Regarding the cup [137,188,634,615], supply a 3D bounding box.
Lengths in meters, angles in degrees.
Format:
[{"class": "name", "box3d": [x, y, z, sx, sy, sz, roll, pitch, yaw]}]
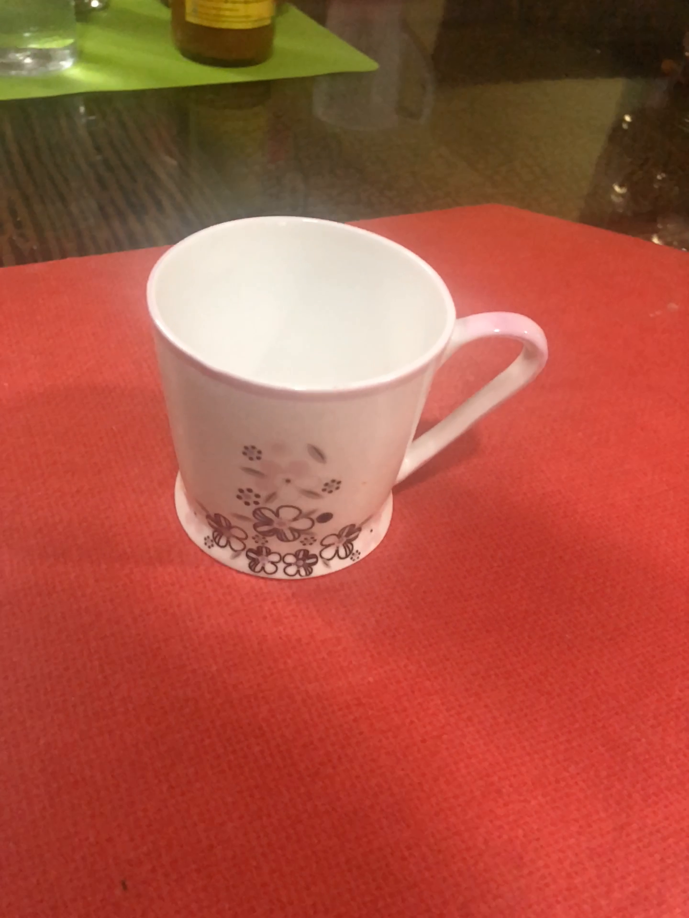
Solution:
[{"class": "cup", "box3d": [0.001, -0.017, 0.205, 0.100, 0.080, 0.070, -5, 45, -13]}]
